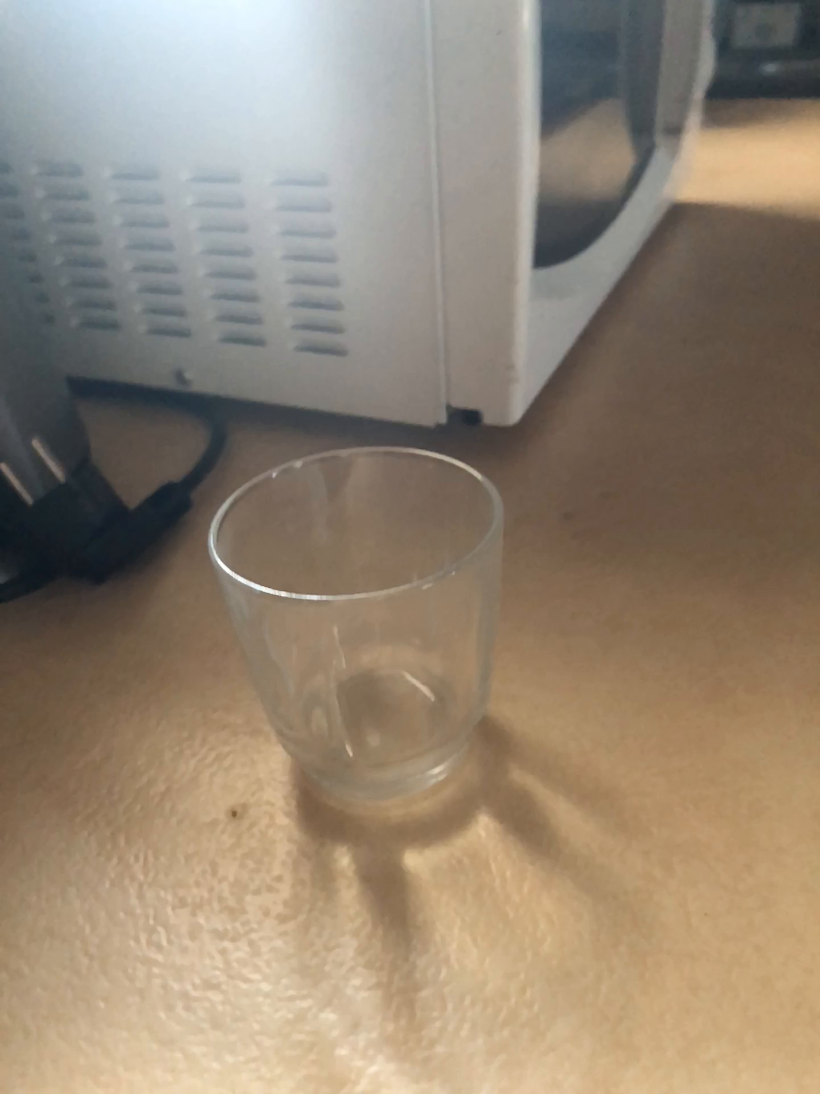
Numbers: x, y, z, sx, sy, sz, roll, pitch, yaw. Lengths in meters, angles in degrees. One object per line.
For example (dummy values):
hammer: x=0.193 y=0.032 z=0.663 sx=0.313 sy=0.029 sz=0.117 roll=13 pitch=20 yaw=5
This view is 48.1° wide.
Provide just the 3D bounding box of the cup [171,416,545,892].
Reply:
cup: x=-0.013 y=0.023 z=0.235 sx=0.070 sy=0.080 sz=0.070 roll=-3 pitch=33 yaw=2
